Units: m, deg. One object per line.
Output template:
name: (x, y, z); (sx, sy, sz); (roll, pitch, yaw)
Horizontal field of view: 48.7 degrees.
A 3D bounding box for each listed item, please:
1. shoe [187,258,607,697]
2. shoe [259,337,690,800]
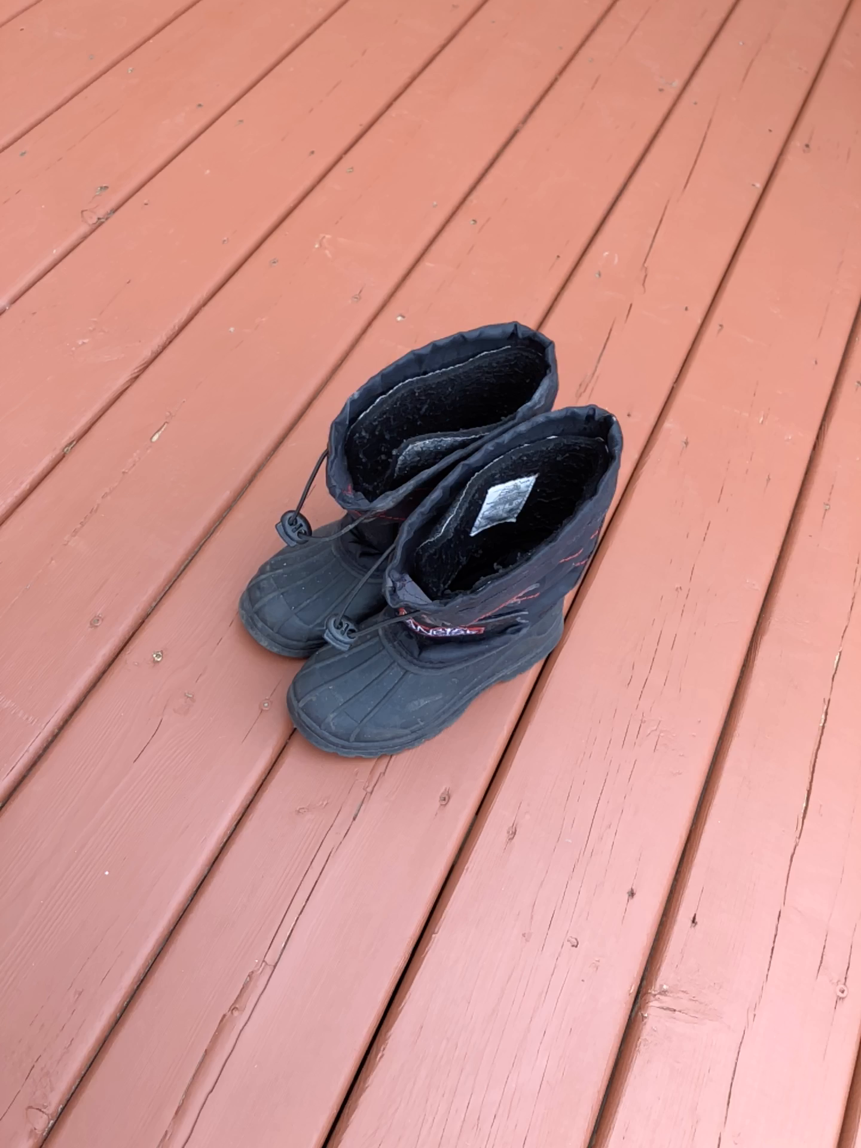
shoe: (-0.028, -0.054, 0.620); (0.210, 0.230, 0.100); (-25, 65, -22)
shoe: (0.014, 0.006, 0.592); (0.210, 0.230, 0.100); (-30, 67, -23)
